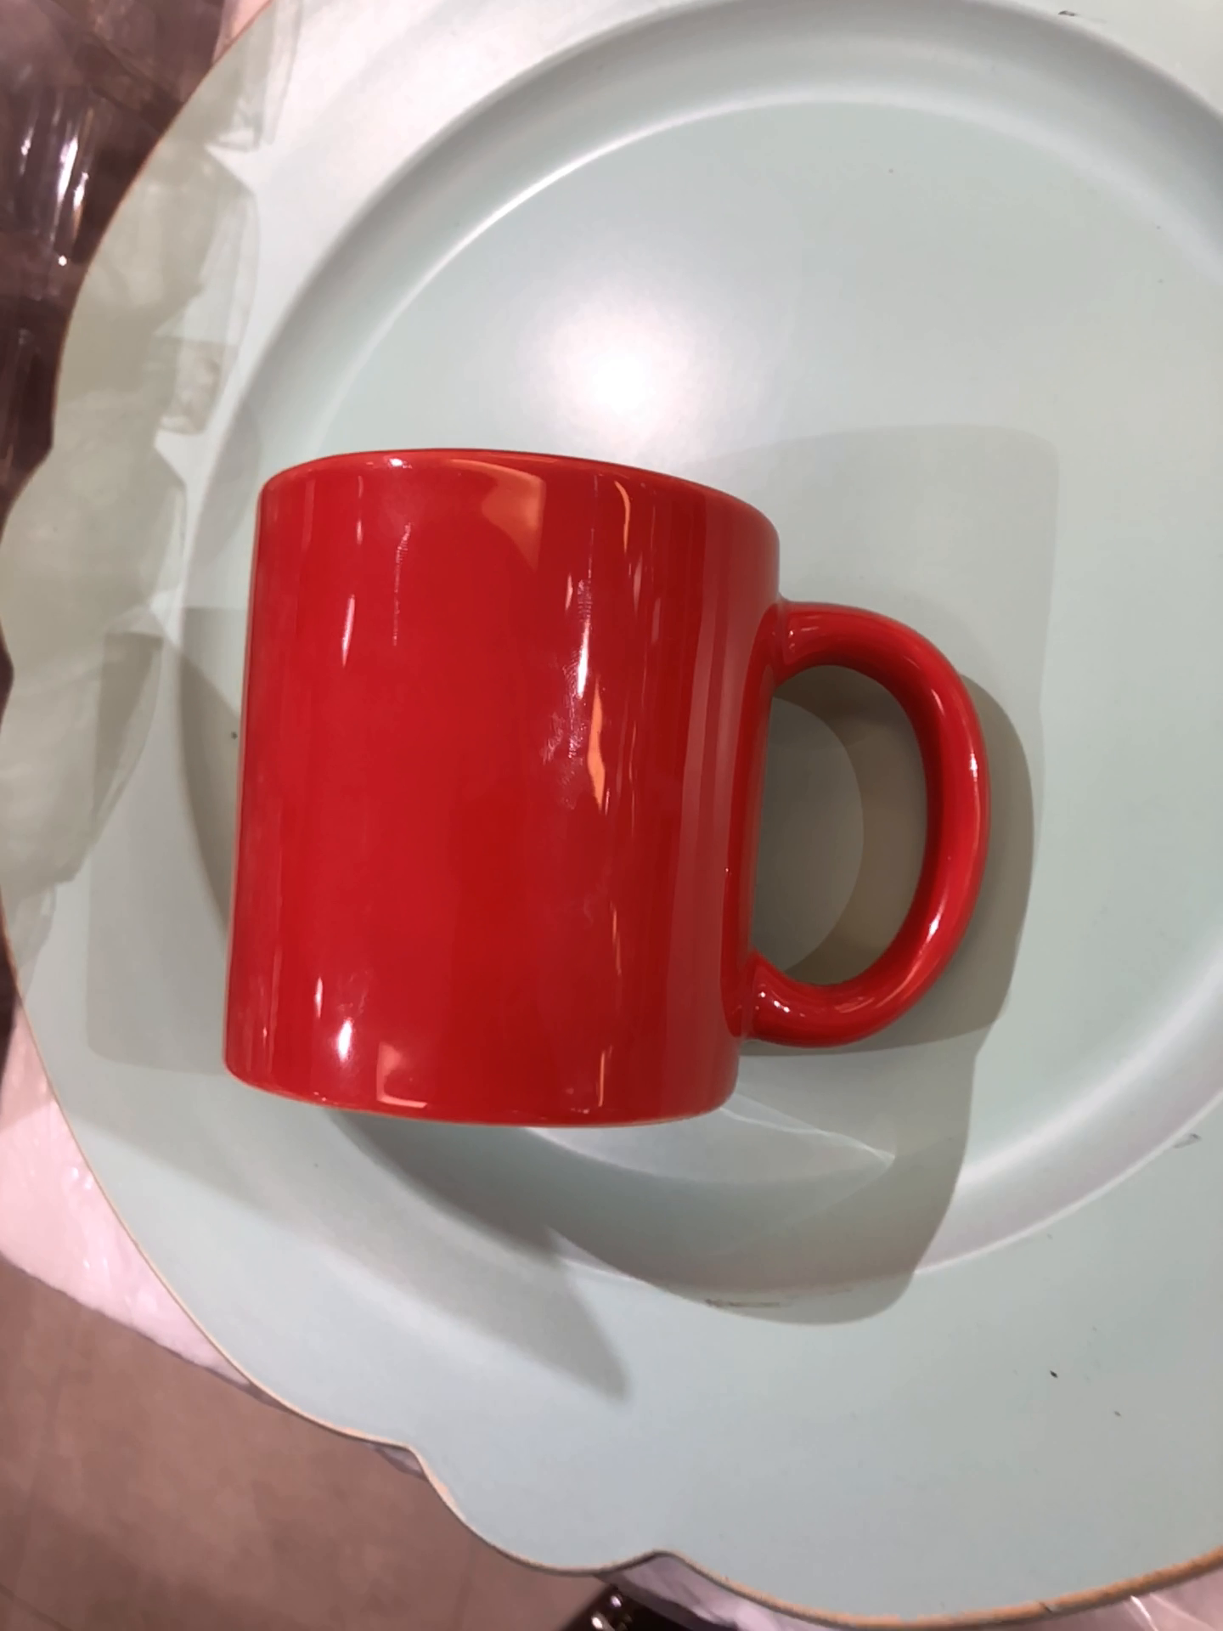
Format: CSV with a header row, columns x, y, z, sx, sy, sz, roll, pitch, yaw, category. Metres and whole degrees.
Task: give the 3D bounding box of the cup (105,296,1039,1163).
x,y,z,sx,sy,sz,roll,pitch,yaw,category
-0.005,-0.008,0.198,0.110,0.060,0.100,0,86,-7,cup
